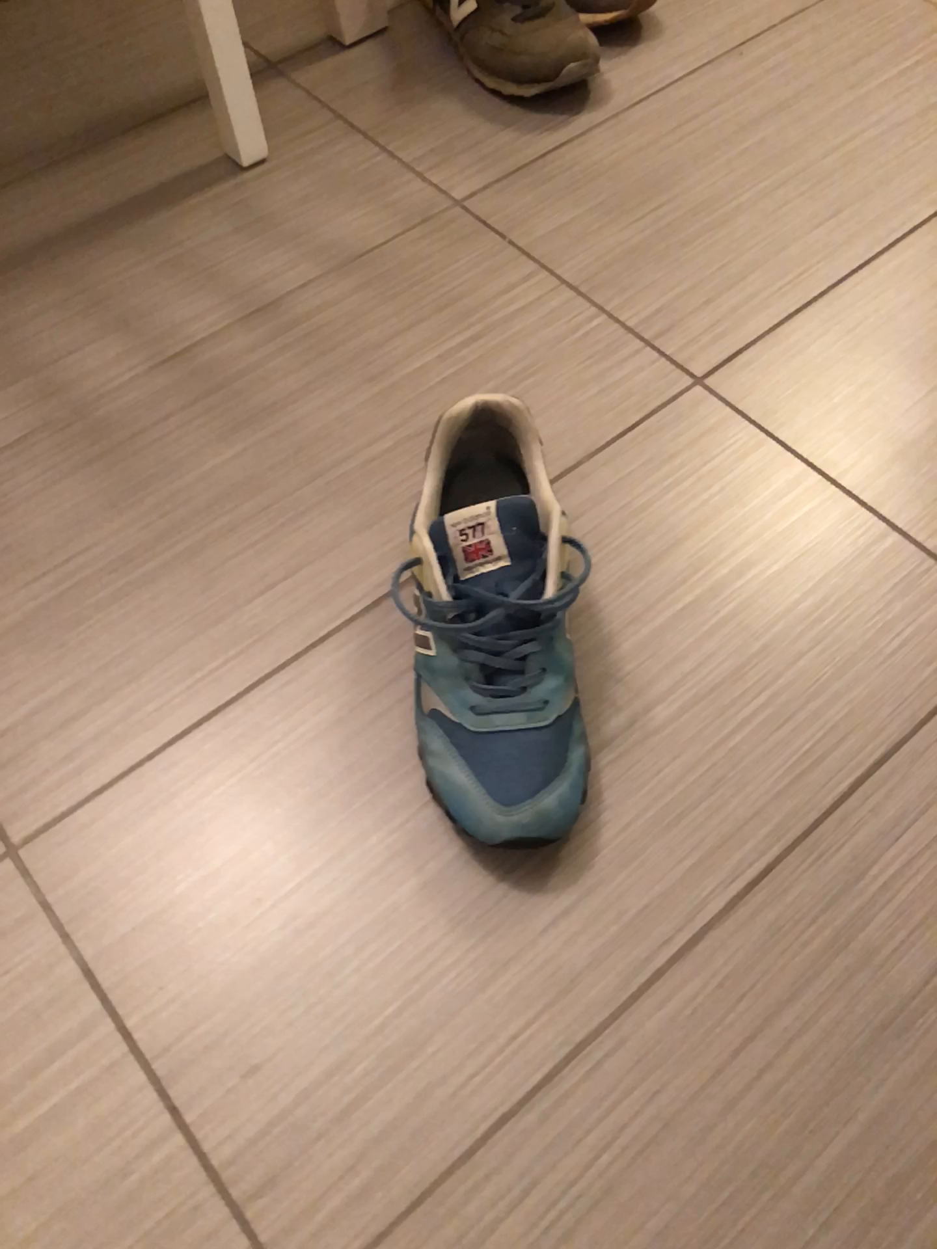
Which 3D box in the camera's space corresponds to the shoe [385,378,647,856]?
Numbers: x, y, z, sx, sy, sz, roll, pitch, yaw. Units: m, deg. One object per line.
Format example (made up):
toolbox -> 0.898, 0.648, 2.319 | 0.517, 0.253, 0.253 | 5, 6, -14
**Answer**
shoe -> 0.019, -0.017, 0.644 | 0.130, 0.070, 0.301 | -4, 57, -1
